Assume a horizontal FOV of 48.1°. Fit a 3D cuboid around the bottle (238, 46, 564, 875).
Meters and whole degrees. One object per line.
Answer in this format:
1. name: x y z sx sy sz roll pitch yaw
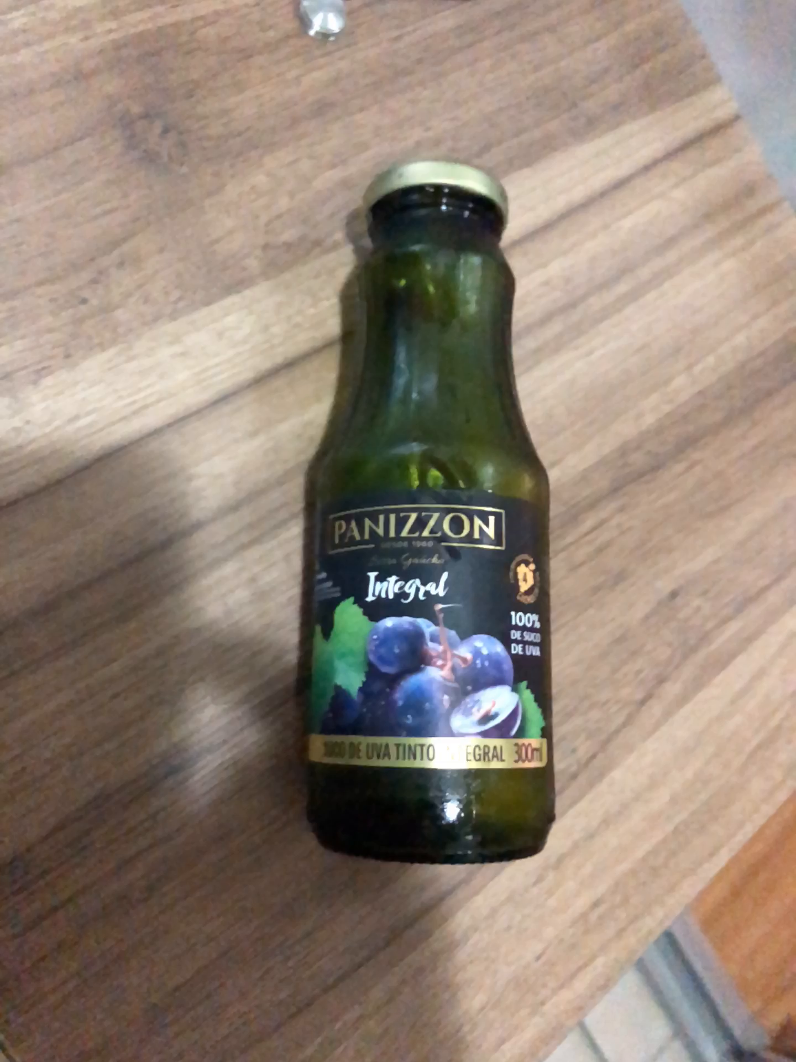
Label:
1. bottle: 0.008 -0.018 0.250 0.070 0.070 0.200 -1 79 14
